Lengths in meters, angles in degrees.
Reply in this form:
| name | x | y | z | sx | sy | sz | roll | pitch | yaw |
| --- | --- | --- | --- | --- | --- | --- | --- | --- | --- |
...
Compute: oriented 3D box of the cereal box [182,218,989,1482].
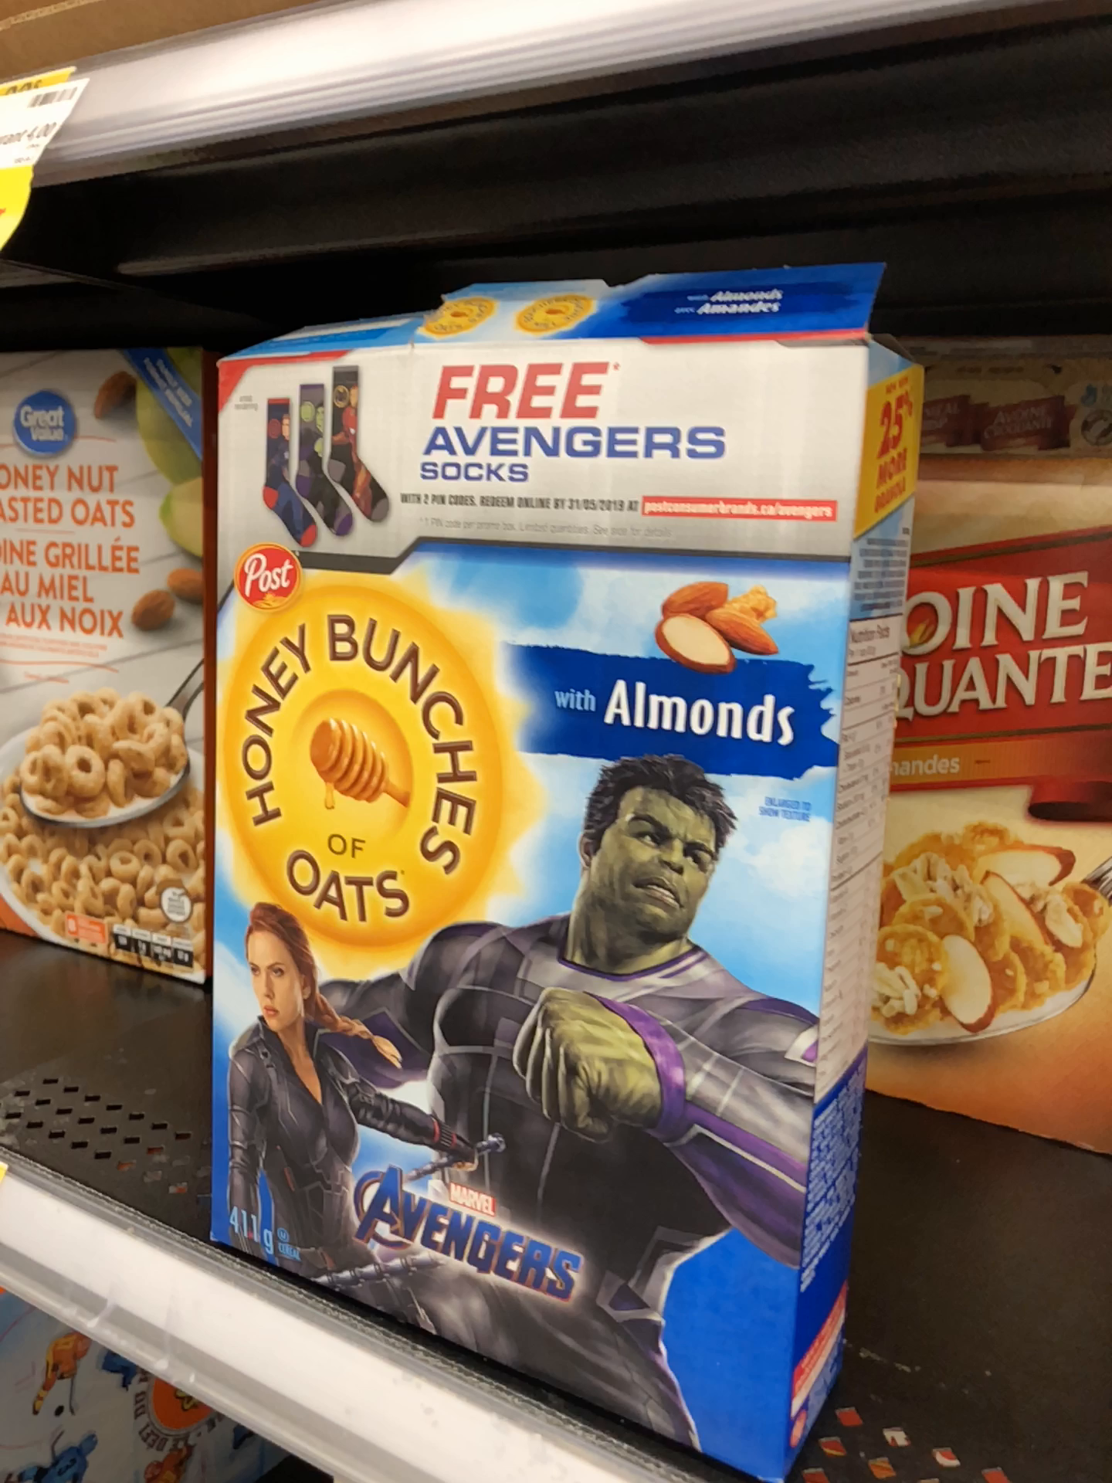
| name | x | y | z | sx | sy | sz | roll | pitch | yaw |
| --- | --- | --- | --- | --- | --- | --- | --- | --- | --- |
| cereal box | -0.003 | 0.023 | 0.344 | 0.200 | 0.289 | 0.070 | 8 | 12 | 30 |
